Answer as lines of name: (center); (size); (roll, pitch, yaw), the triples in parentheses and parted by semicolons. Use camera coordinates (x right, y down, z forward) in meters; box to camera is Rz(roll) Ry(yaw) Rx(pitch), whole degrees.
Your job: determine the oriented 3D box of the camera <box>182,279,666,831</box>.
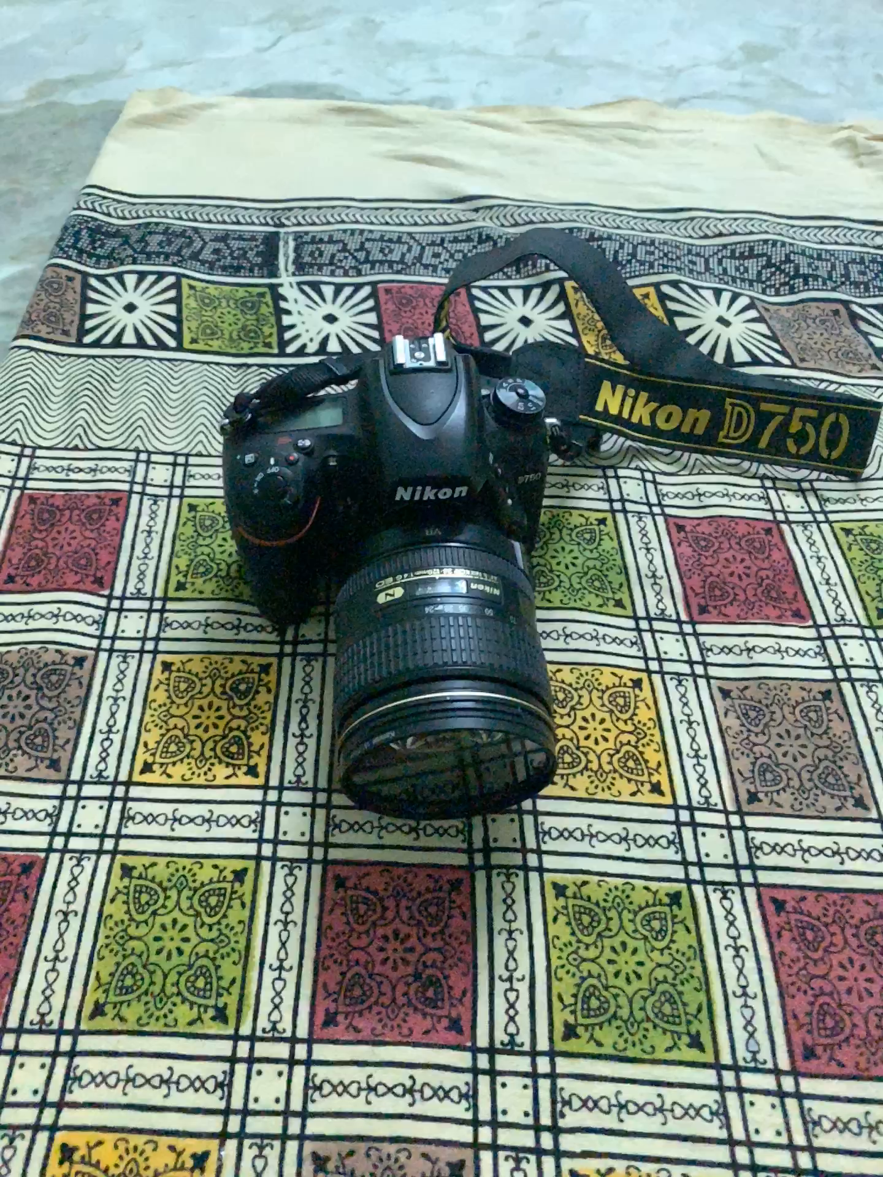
camera: (-0.012, -0.020, 0.358); (0.140, 0.100, 0.191); (-3, 53, -3)
